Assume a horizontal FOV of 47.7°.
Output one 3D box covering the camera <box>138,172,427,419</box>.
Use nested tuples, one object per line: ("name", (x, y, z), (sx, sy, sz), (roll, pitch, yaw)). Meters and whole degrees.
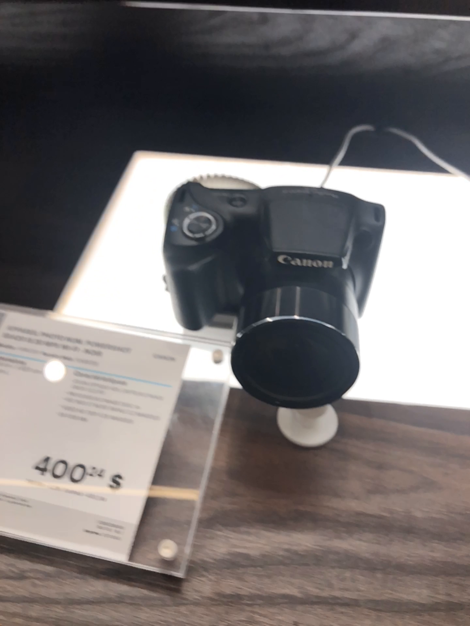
("camera", (0.018, -0.009, 0.243), (0.102, 0.074, 0.081), (3, 43, 2))
